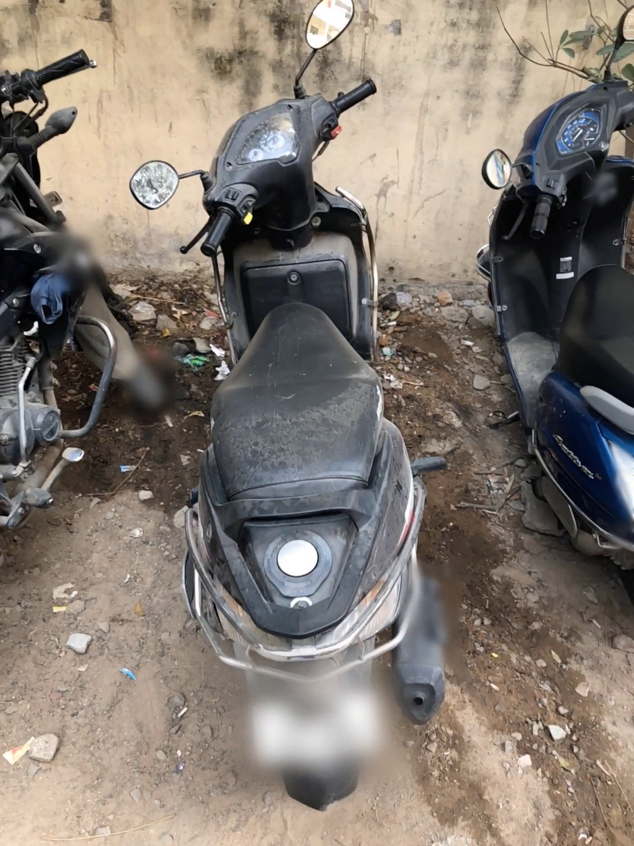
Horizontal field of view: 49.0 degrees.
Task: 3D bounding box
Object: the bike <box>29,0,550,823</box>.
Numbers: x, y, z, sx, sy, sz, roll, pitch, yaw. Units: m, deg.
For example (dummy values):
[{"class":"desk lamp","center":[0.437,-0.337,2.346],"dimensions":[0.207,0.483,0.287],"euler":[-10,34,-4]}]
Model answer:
[{"class":"bike","center":[-0.182,-0.244,1.587],"dimensions":[0.528,1.114,1.568],"euler":[-2,39,-10]}]
